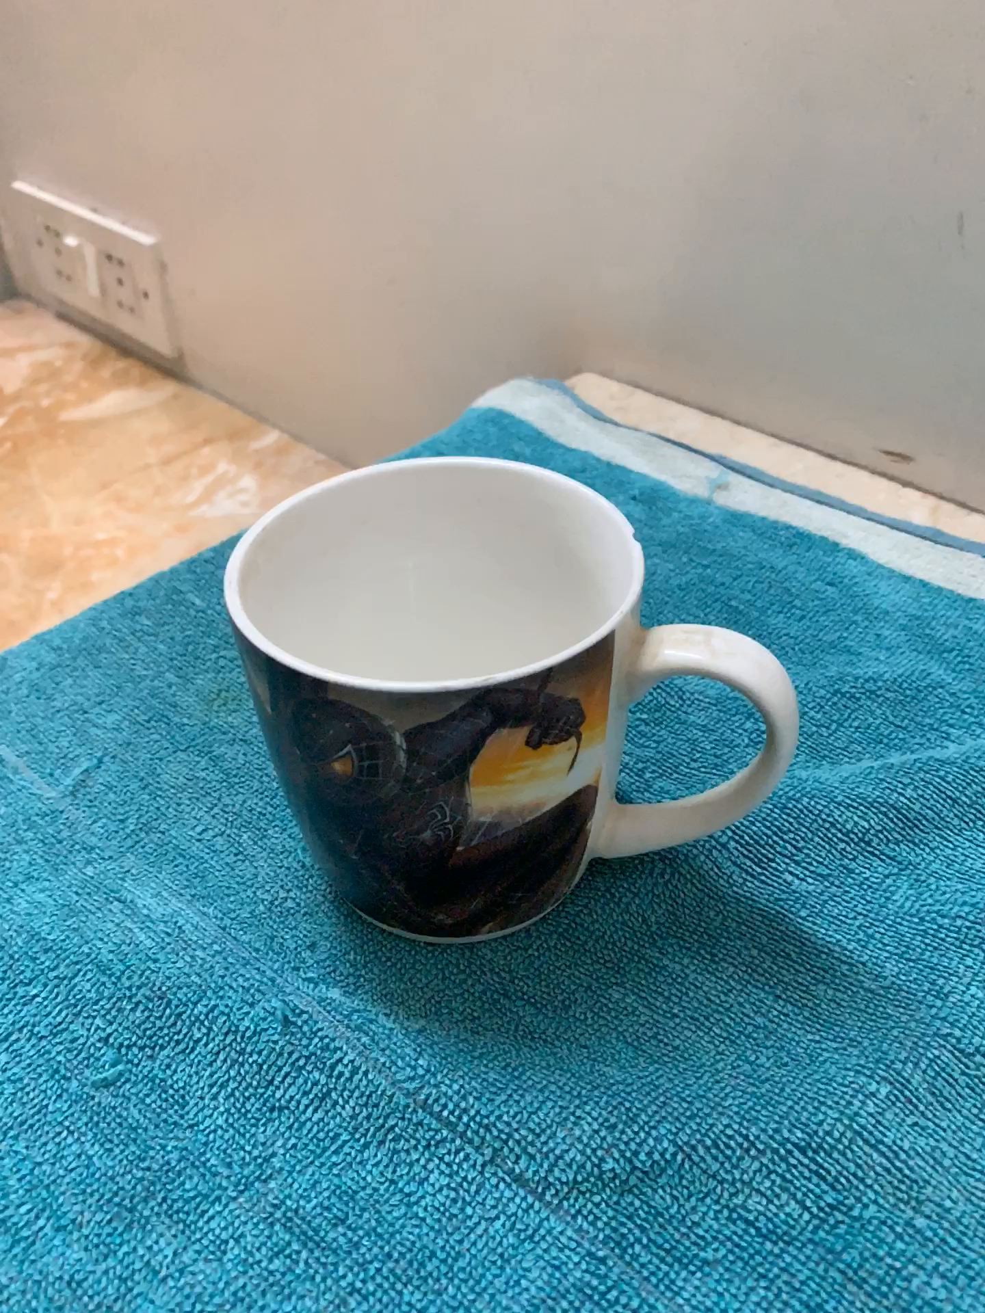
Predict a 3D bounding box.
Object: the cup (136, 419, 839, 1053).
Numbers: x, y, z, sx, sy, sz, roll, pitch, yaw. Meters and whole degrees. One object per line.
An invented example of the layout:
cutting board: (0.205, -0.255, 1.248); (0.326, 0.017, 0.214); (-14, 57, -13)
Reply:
cup: (0.005, 0.012, 0.233); (0.120, 0.089, 0.081); (11, 41, 17)
